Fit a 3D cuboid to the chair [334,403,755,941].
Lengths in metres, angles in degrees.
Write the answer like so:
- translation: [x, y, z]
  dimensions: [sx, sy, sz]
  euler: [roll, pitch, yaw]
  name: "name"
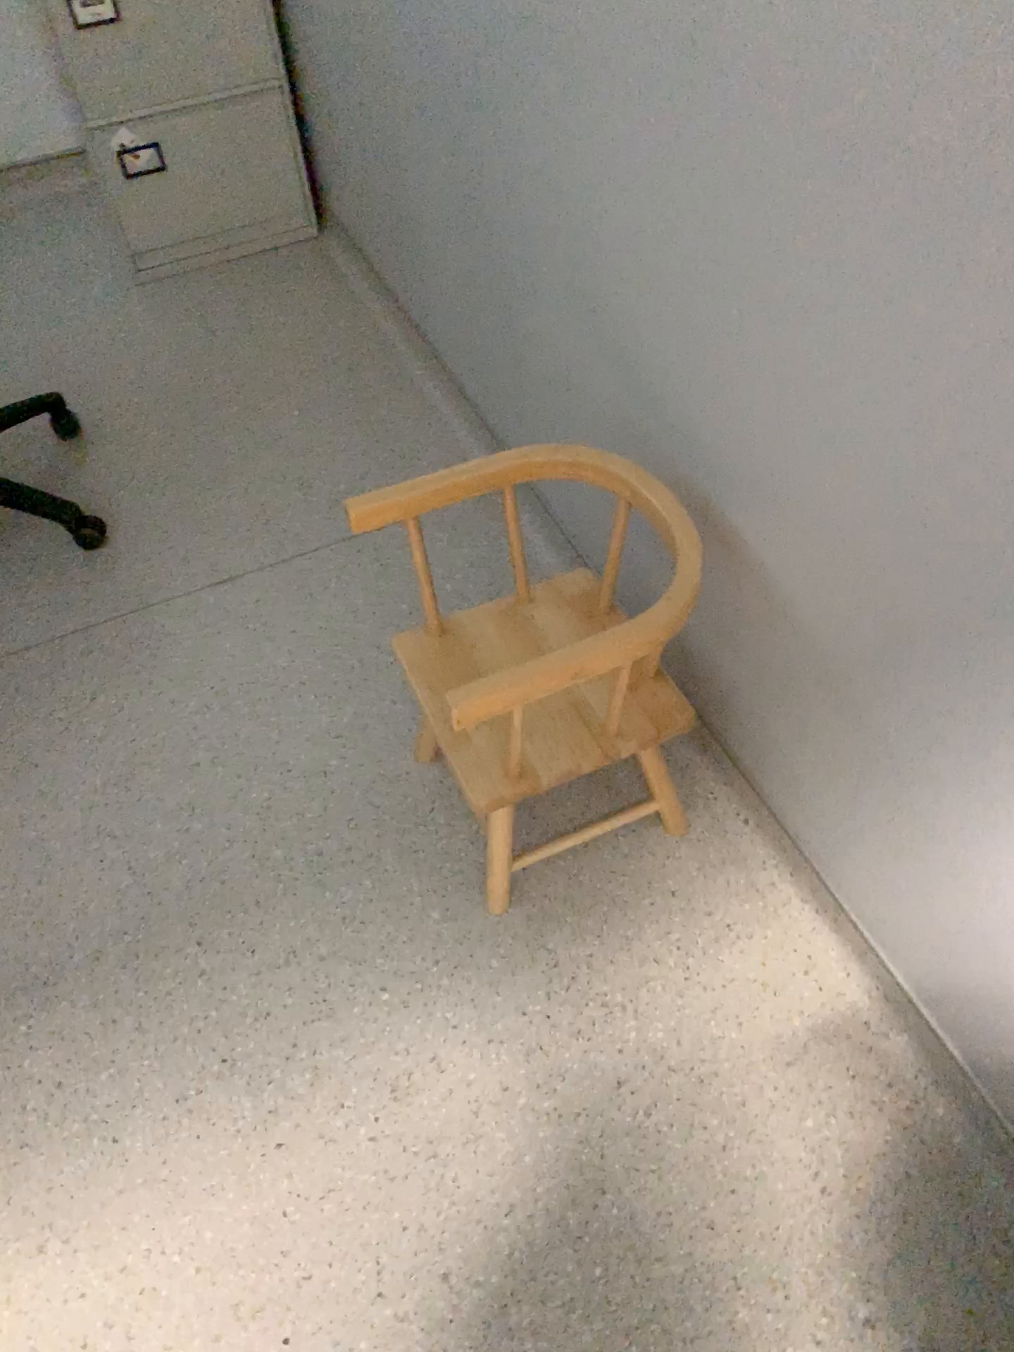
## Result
- translation: [0.042, 0.004, 1.286]
  dimensions: [0.342, 0.481, 0.364]
  euler: [-19, 50, -10]
  name: "chair"
